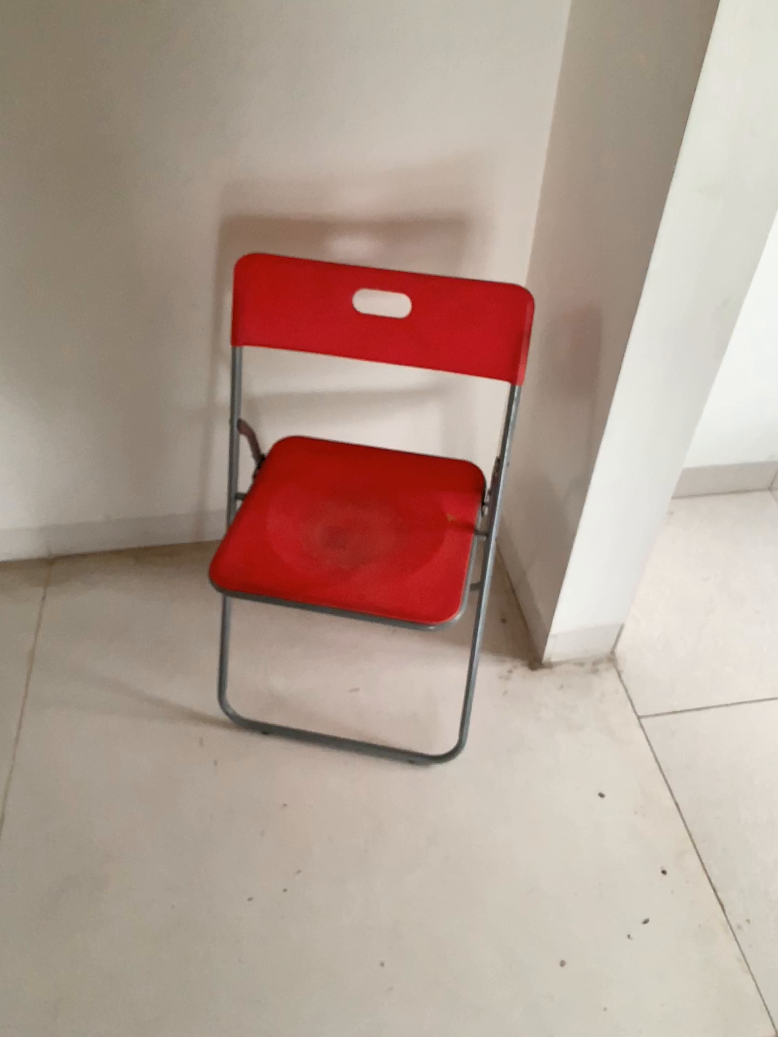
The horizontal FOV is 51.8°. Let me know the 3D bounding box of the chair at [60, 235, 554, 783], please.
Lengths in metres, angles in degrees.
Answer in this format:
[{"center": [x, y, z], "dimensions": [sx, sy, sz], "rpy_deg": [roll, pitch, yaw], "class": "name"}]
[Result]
[{"center": [-0.070, -0.014, 1.254], "dimensions": [0.530, 0.608, 0.502], "rpy_deg": [9, 44, 7], "class": "chair"}]
